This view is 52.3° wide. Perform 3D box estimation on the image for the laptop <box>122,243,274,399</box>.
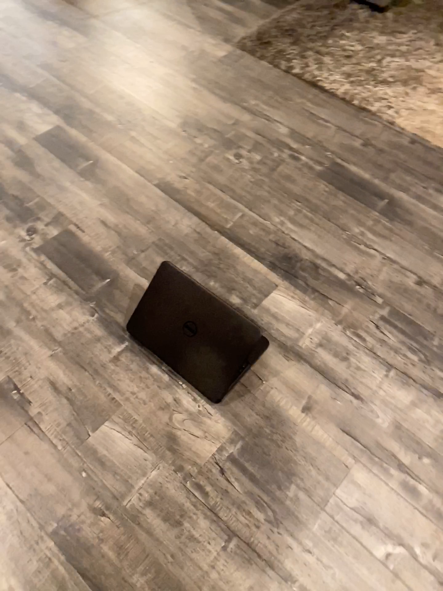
[{"bbox_3d":[-0.068,0.067,1.292,0.353,0.170,0.231,35,63,19],"label":"laptop"}]
